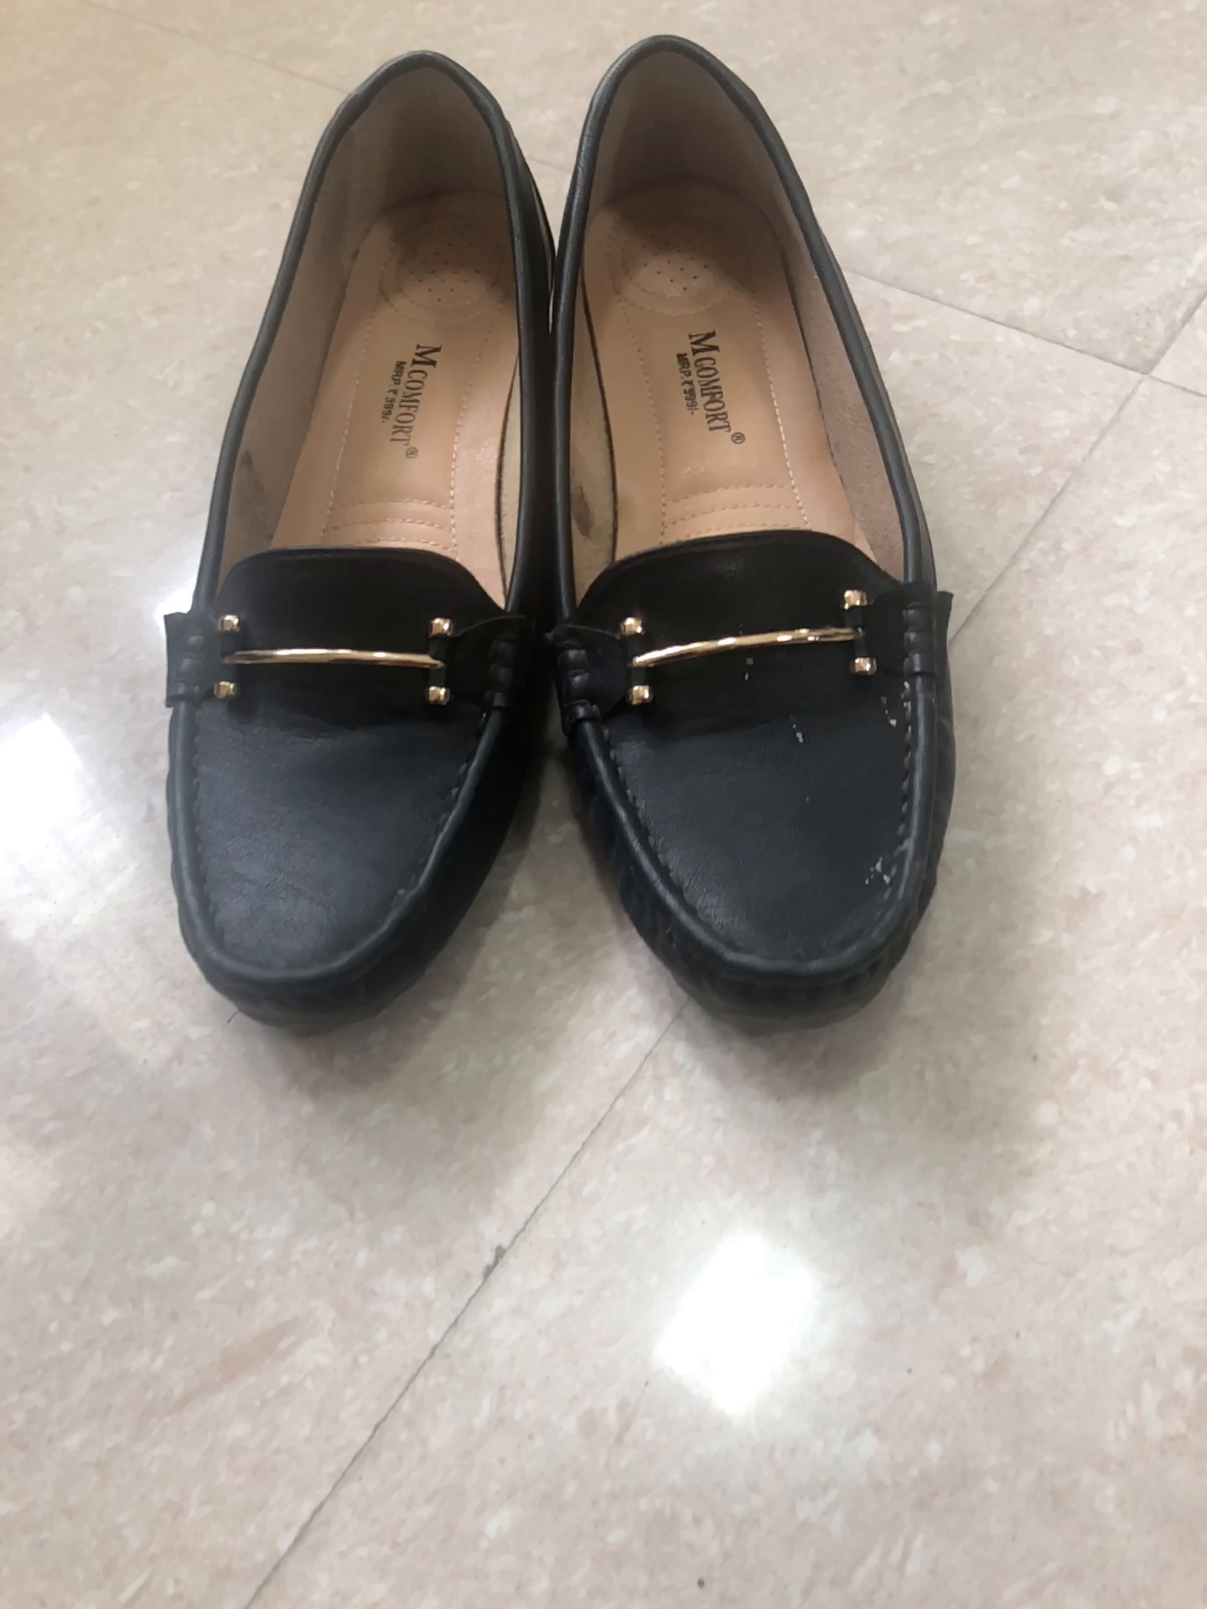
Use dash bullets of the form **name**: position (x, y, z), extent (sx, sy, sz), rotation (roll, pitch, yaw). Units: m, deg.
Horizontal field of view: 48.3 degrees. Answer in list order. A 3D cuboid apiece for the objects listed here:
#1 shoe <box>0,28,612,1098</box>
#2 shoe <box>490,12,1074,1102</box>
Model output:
- **shoe**: position (-0.057, -0.084, 0.364), extent (0.100, 0.080, 0.311), rotation (0, 57, 5)
- **shoe**: position (0.028, -0.087, 0.363), extent (0.100, 0.080, 0.311), rotation (-6, 57, 2)
